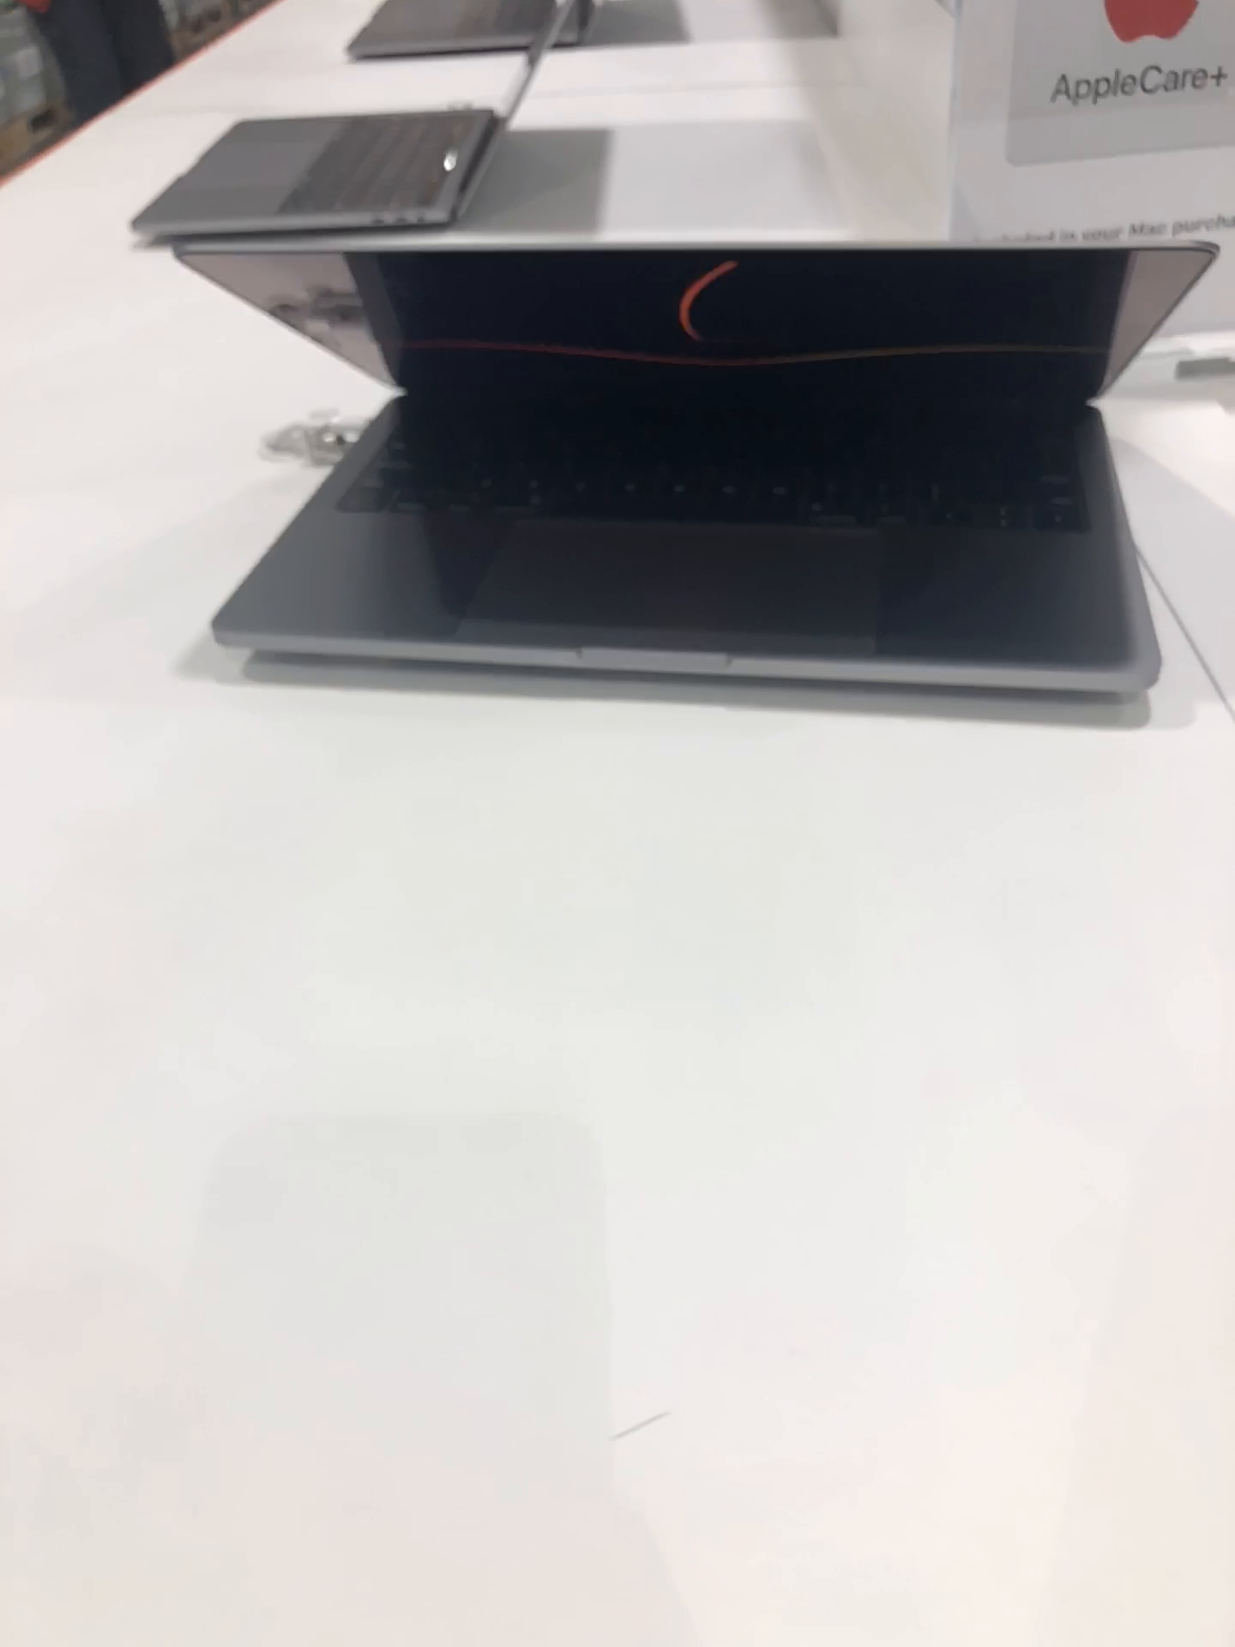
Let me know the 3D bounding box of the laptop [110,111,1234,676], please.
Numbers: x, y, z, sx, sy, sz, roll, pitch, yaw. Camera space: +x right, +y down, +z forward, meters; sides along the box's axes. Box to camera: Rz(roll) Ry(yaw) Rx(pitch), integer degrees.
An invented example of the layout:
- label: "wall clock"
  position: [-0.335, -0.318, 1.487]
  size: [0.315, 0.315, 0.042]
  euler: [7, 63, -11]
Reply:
- label: "laptop"
  position: [0.026, -0.160, 0.474]
  size: [0.297, 0.109, 0.211]
  euler: [4, 38, 10]
